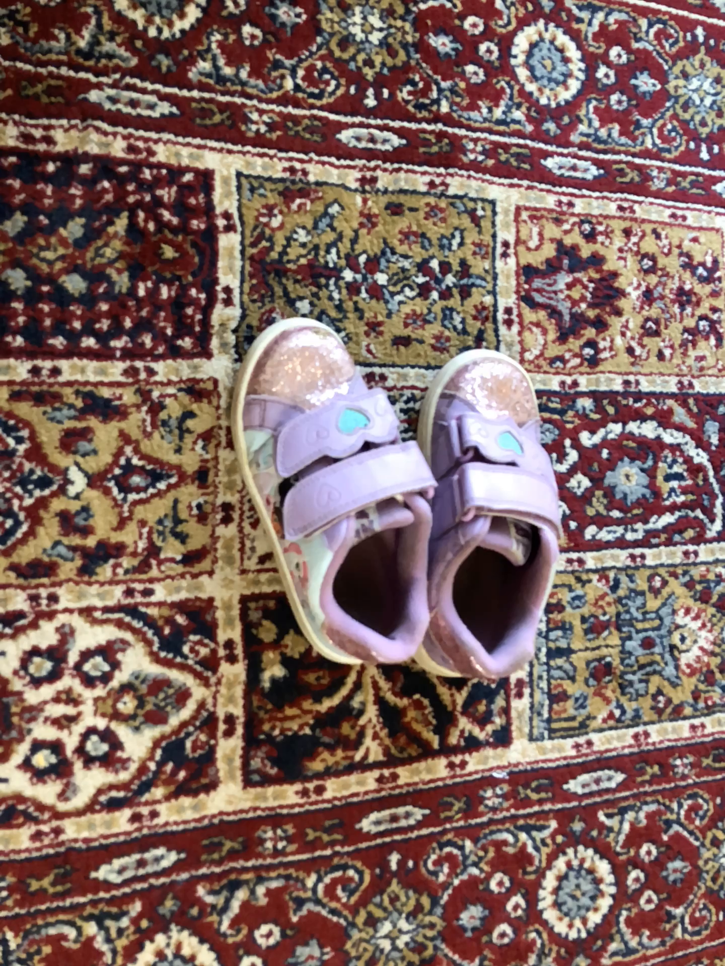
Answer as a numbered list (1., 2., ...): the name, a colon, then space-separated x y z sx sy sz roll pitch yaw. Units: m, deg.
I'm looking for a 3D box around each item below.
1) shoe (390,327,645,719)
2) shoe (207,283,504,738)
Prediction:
1. shoe: 0.088 0.025 0.464 0.100 0.090 0.200 7 85 -20
2. shoe: -0.008 0.012 0.433 0.090 0.090 0.208 -15 93 -20
